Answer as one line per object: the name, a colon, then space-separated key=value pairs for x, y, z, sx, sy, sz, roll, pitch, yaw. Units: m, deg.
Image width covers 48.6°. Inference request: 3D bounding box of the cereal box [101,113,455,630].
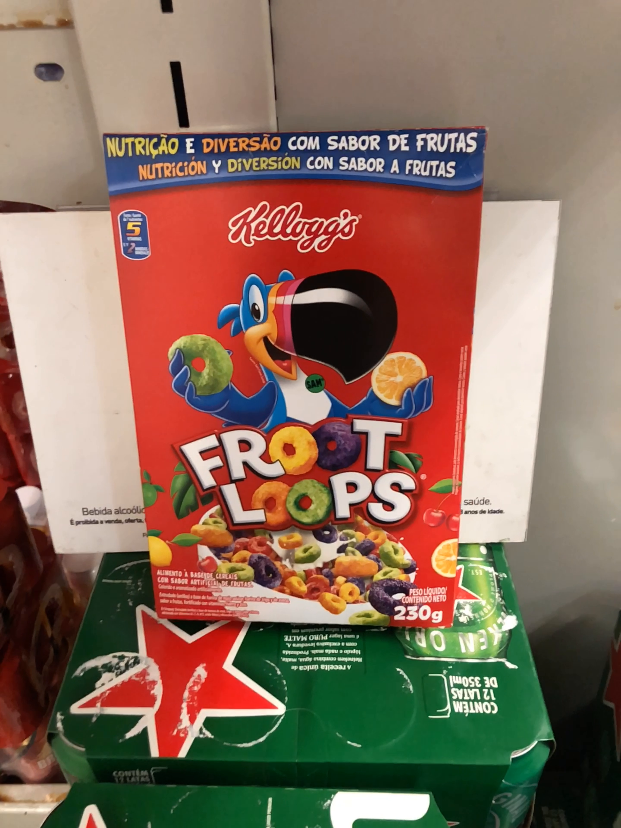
cereal box: x=-0.011 y=-0.015 z=0.363 sx=0.150 sy=0.259 sz=0.060 roll=0 pitch=21 yaw=4
